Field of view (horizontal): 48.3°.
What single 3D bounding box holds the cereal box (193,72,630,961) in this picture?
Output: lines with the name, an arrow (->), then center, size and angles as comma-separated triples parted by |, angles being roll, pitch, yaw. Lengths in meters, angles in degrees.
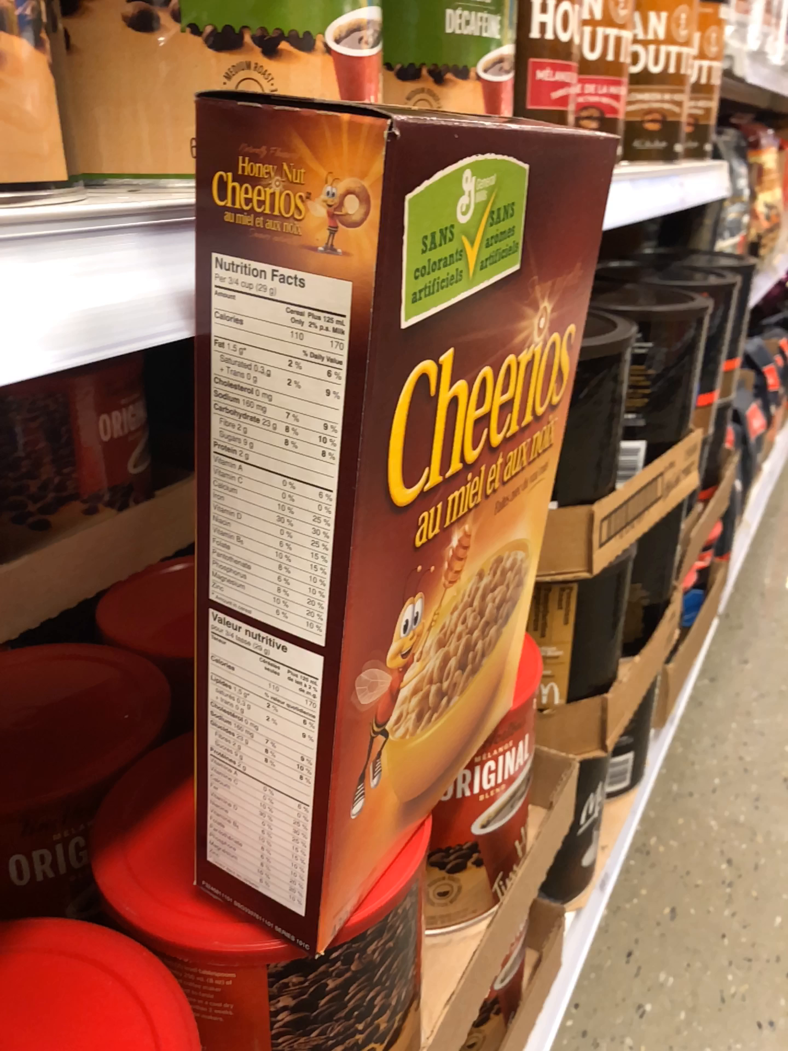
cereal box -> 0.009, -0.012, 0.357 | 0.060, 0.289, 0.201 | 18, 27, 24
